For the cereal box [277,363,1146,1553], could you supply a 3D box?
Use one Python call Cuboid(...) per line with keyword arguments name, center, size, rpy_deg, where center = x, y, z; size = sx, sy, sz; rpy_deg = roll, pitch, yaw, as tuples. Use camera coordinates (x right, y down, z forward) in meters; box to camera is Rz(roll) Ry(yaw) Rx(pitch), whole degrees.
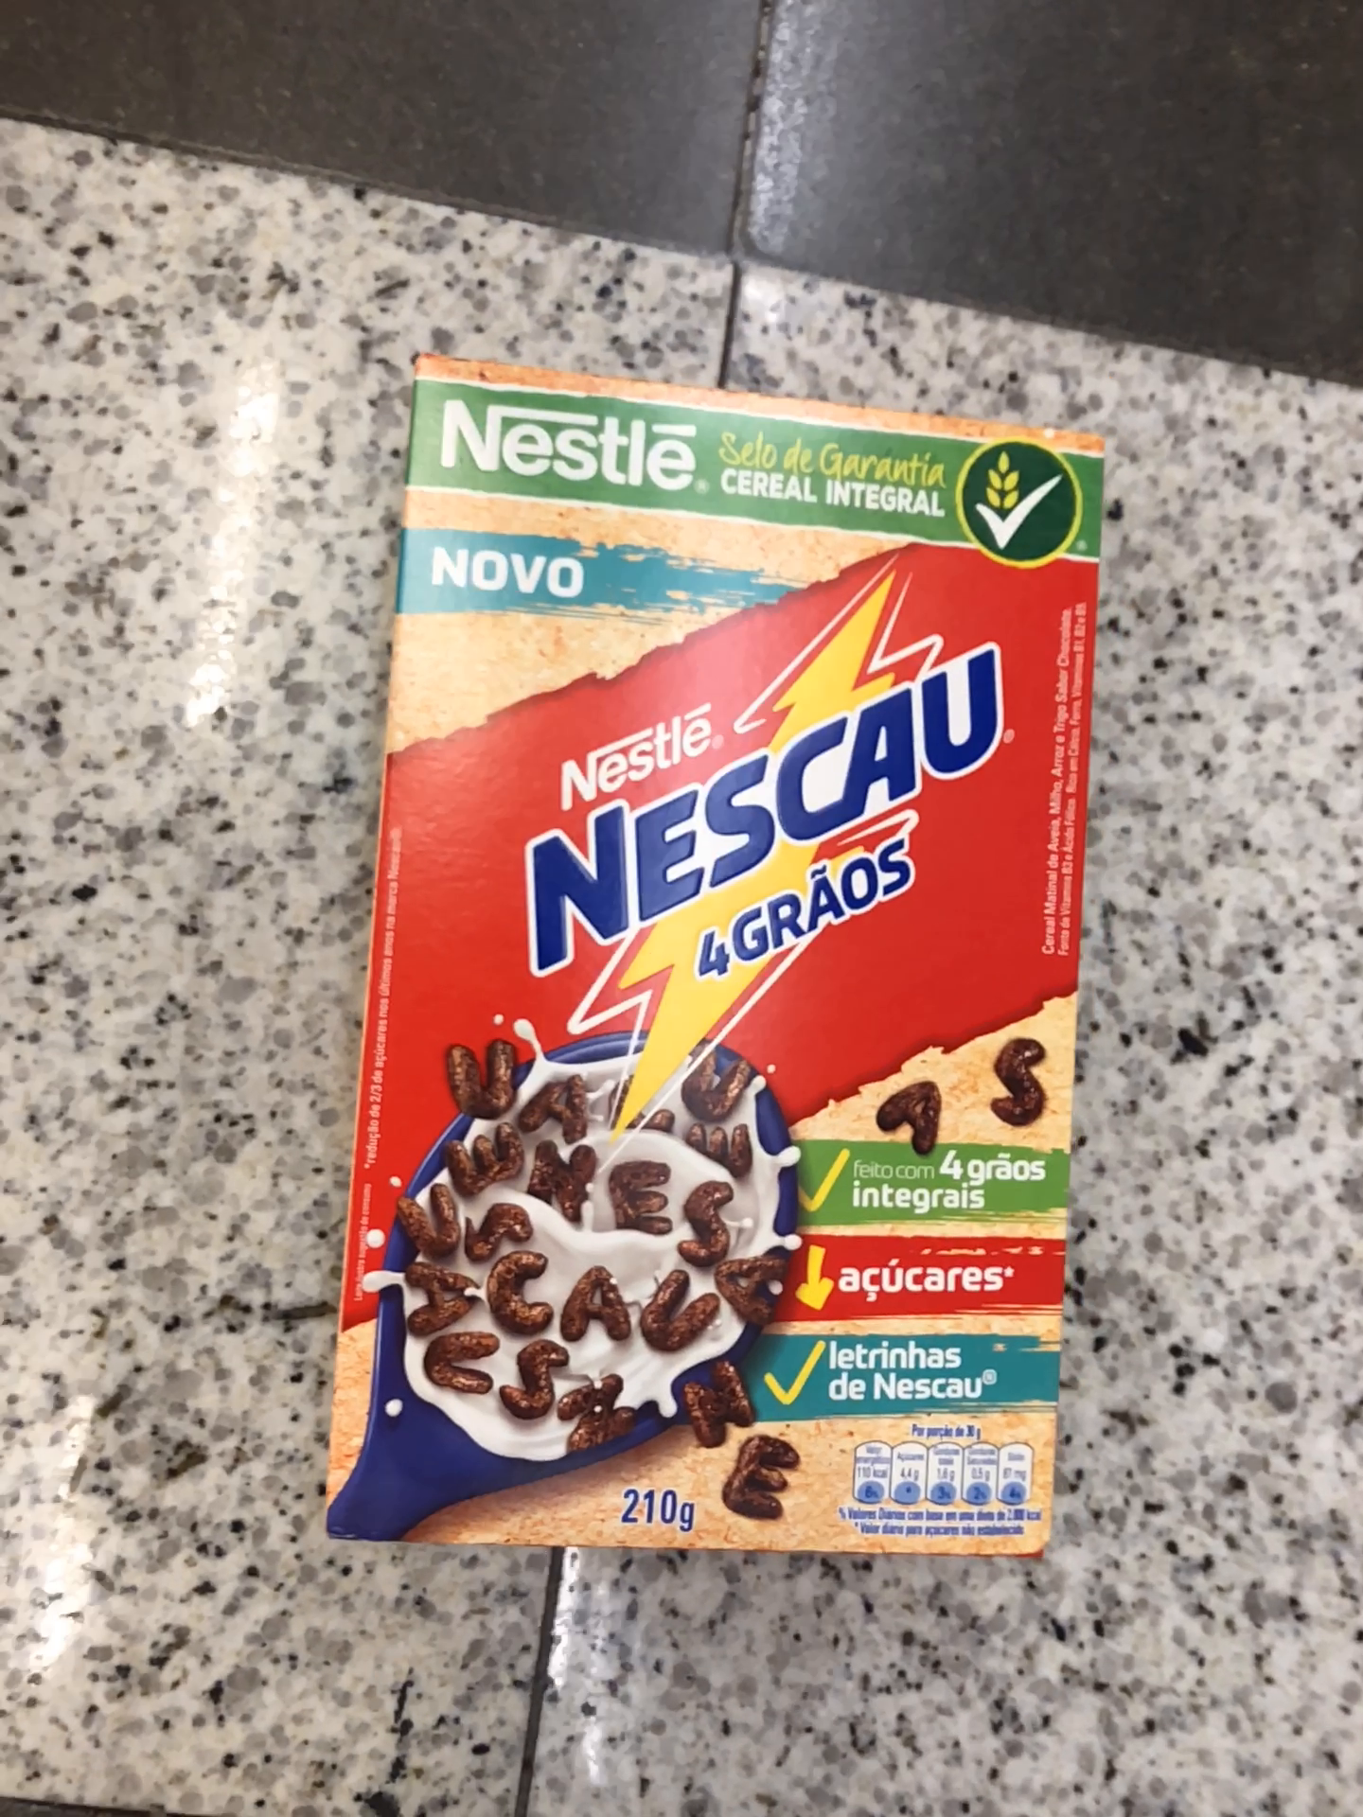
Cuboid(name="cereal box", center=(0.008, 0.013, 0.343), size=(0.170, 0.050, 0.240), rpy_deg=(4, 87, -7))
